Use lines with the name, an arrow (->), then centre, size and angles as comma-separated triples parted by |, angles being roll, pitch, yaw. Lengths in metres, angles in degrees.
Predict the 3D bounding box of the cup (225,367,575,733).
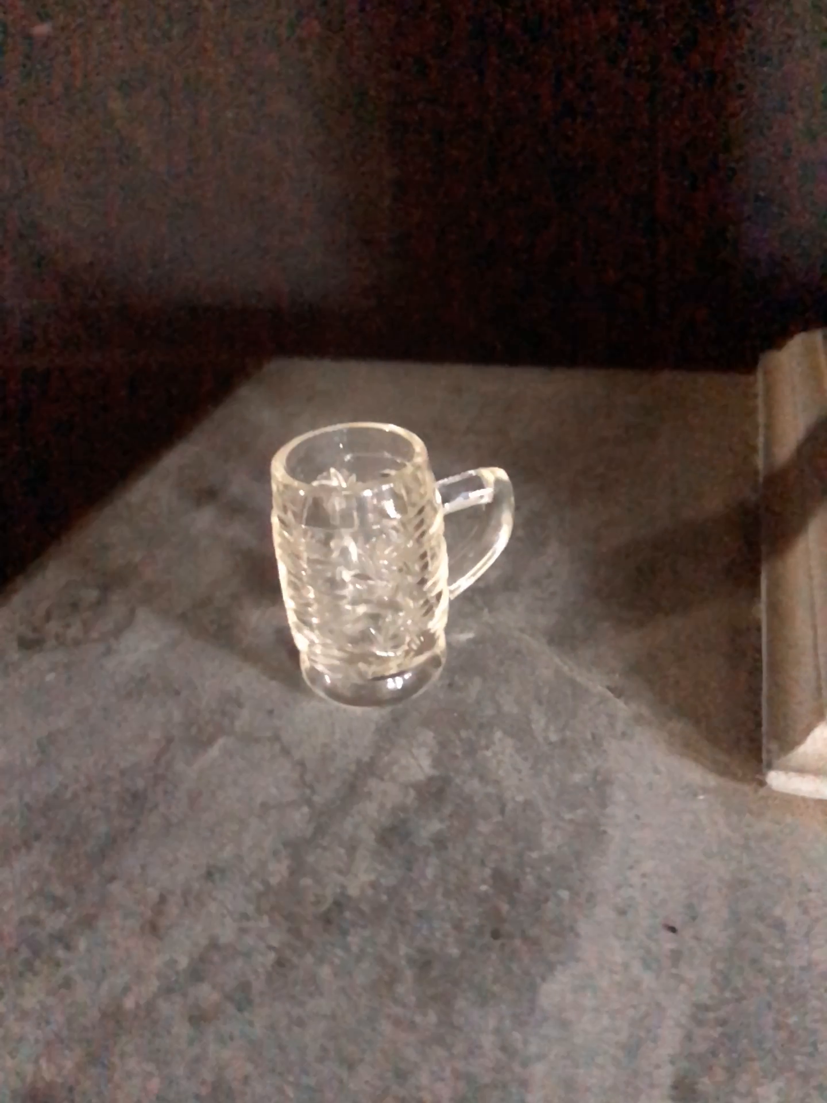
cup -> -0.001, -0.003, 0.205 | 0.060, 0.050, 0.040 | -26, 37, -27
